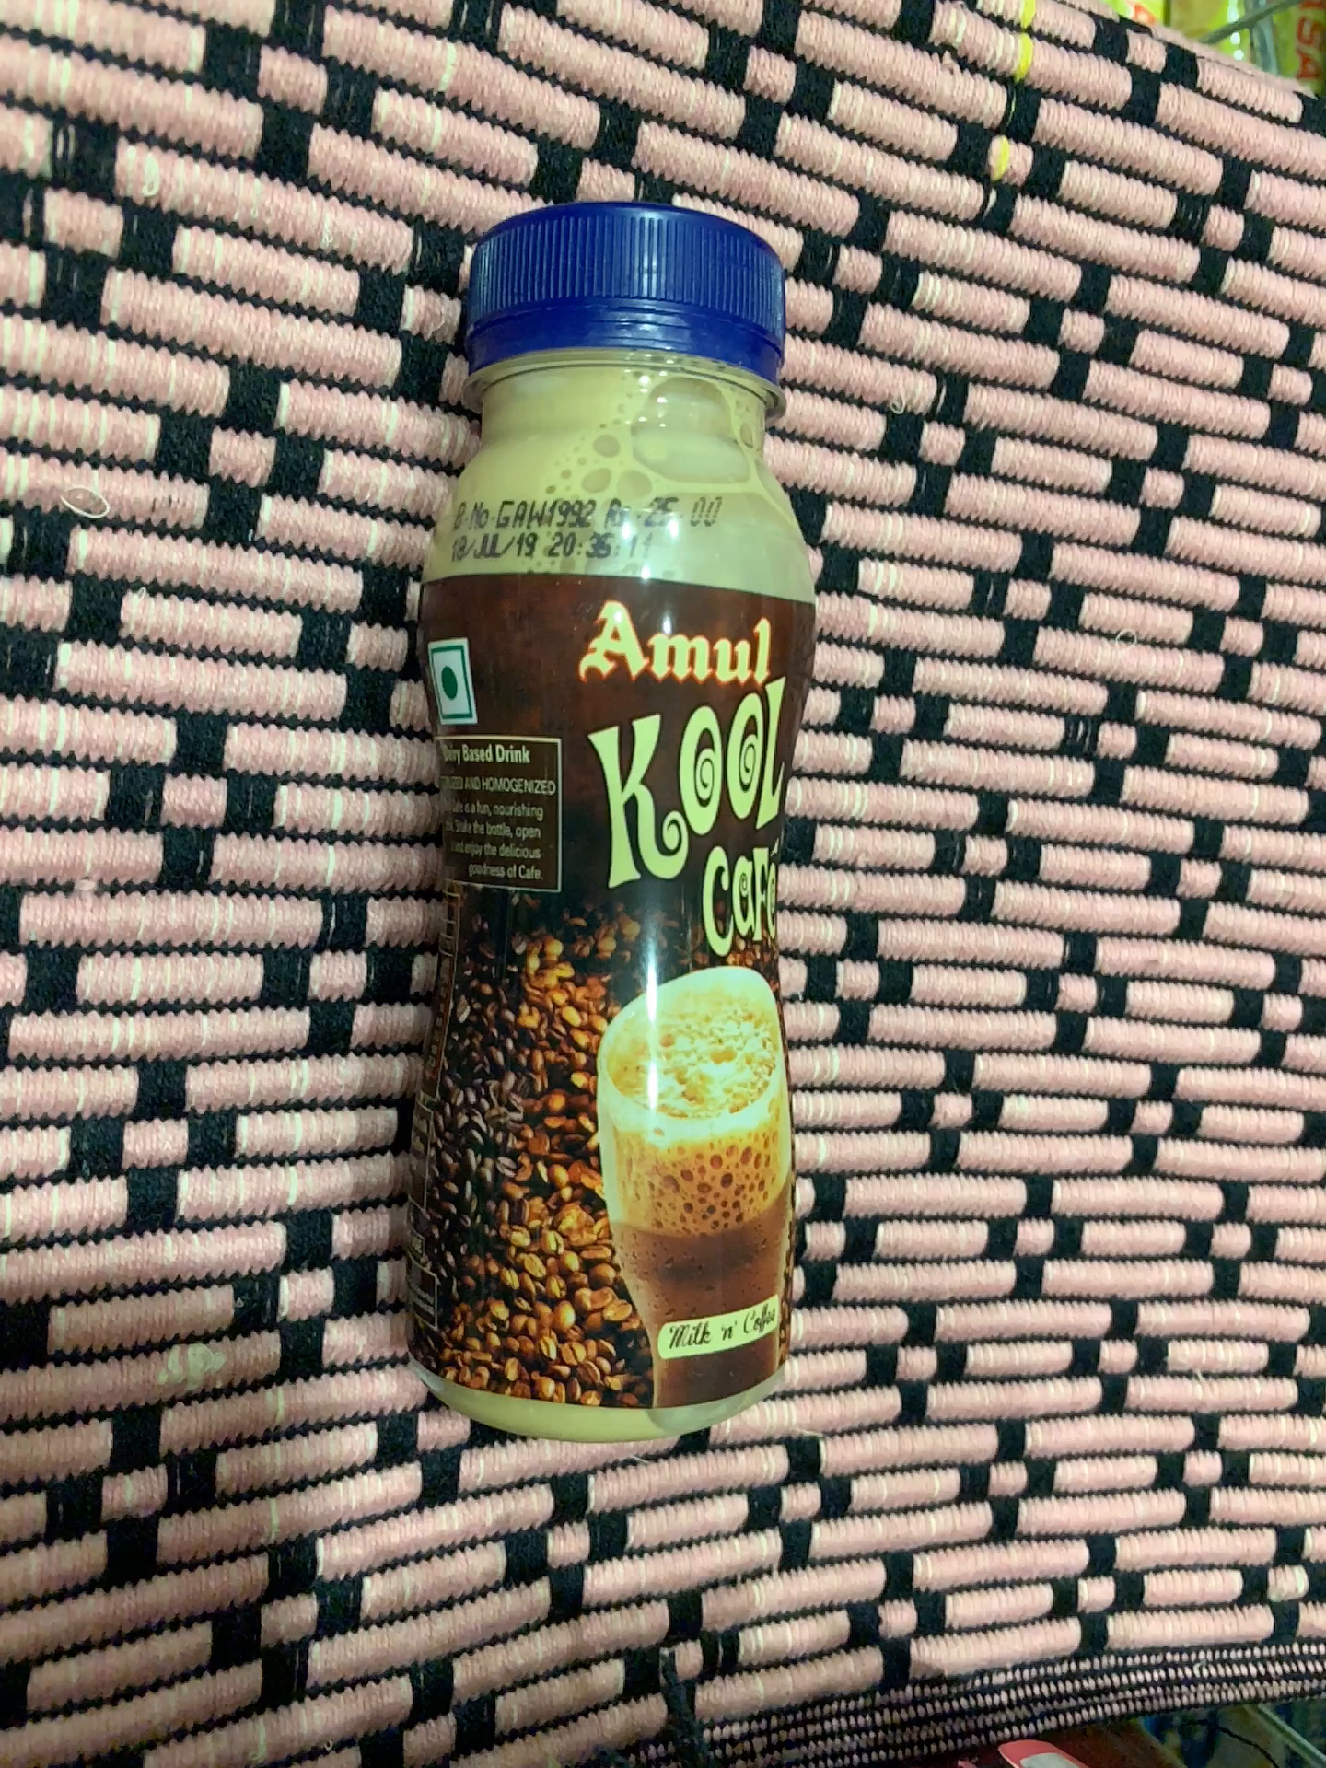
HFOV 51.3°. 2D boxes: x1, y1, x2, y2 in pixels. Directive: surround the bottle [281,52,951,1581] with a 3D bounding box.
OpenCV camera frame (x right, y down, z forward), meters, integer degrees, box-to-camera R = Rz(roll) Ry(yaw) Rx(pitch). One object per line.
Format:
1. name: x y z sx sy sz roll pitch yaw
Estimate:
1. bottle: -0.007 -0.006 0.164 0.060 0.050 0.140 -2 91 -32
